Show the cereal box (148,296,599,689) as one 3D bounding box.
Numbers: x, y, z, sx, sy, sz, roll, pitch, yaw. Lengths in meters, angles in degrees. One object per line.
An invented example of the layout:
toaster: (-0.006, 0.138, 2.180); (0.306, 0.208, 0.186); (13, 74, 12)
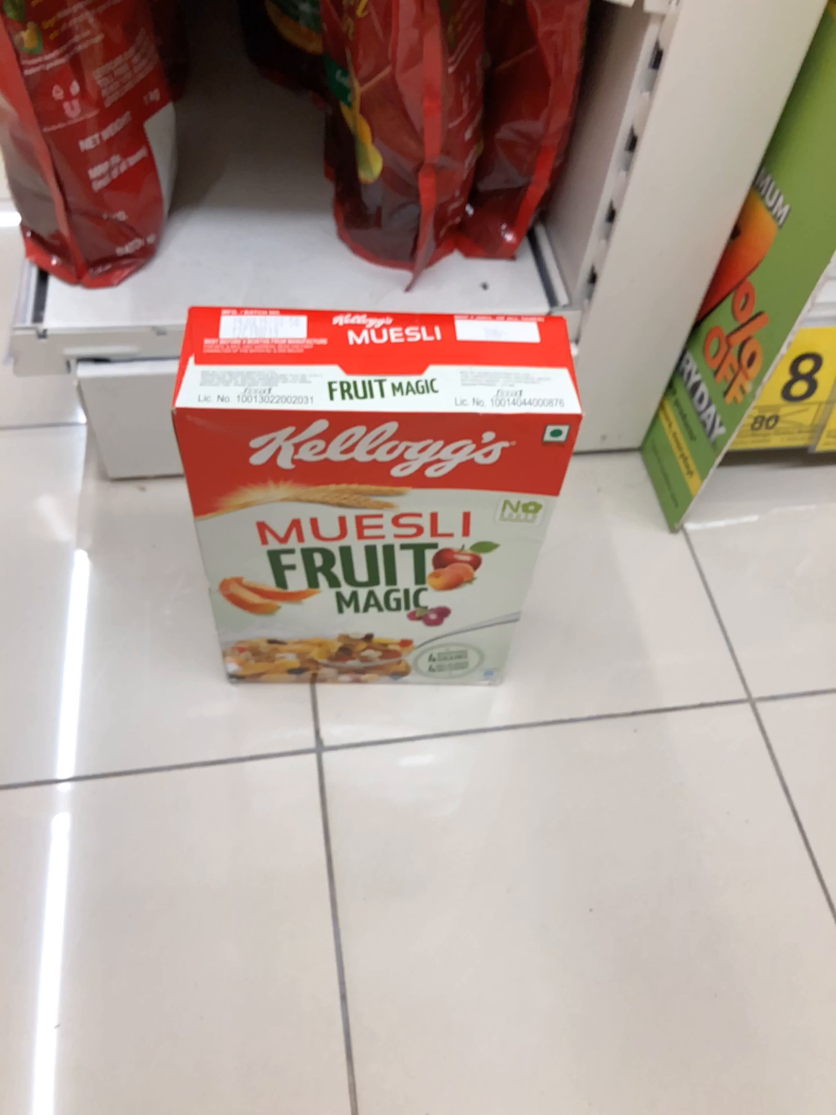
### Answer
cereal box: (-0.027, -0.019, 0.513); (0.190, 0.239, 0.080); (0, 55, -5)
